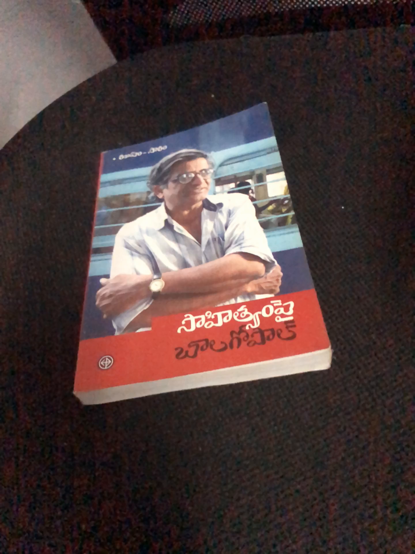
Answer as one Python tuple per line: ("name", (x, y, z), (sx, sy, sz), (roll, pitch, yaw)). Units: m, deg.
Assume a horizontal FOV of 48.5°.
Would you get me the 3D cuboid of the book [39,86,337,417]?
("book", (-0.017, -0.033, 0.307), (0.152, 0.030, 0.226), (-11, 53, 8))
